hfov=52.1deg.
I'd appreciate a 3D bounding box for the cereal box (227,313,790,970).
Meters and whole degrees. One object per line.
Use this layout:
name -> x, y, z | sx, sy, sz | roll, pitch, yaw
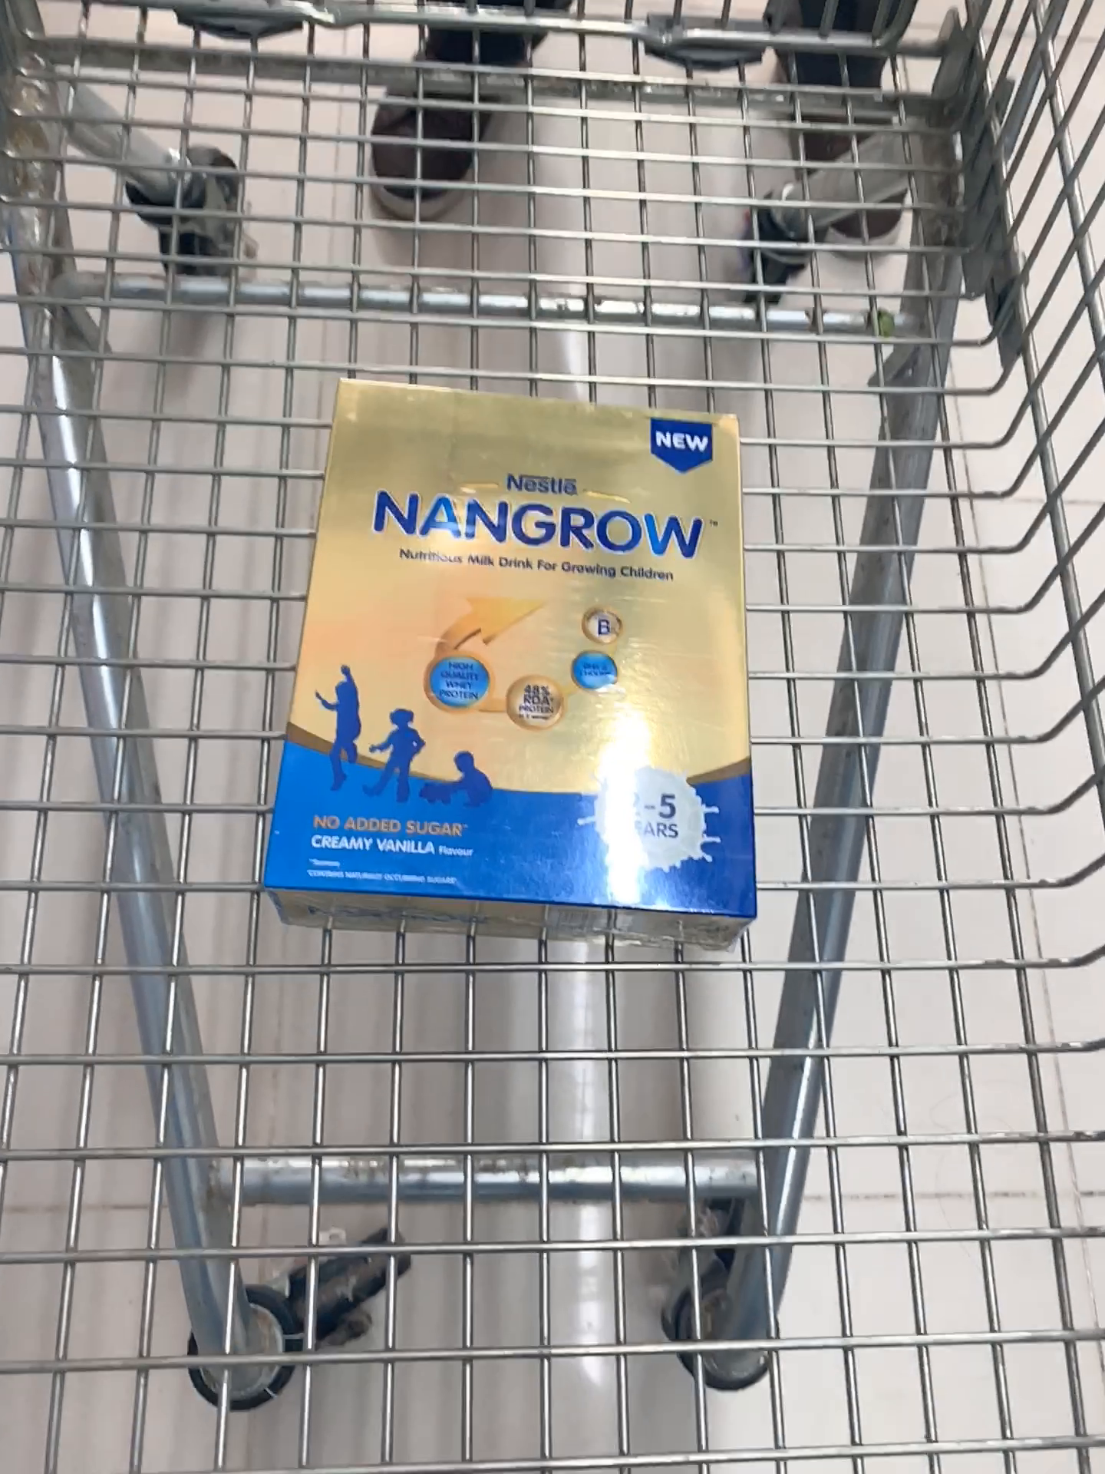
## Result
cereal box -> -0.008, -0.030, 0.361 | 0.150, 0.060, 0.190 | 4, 70, -3
